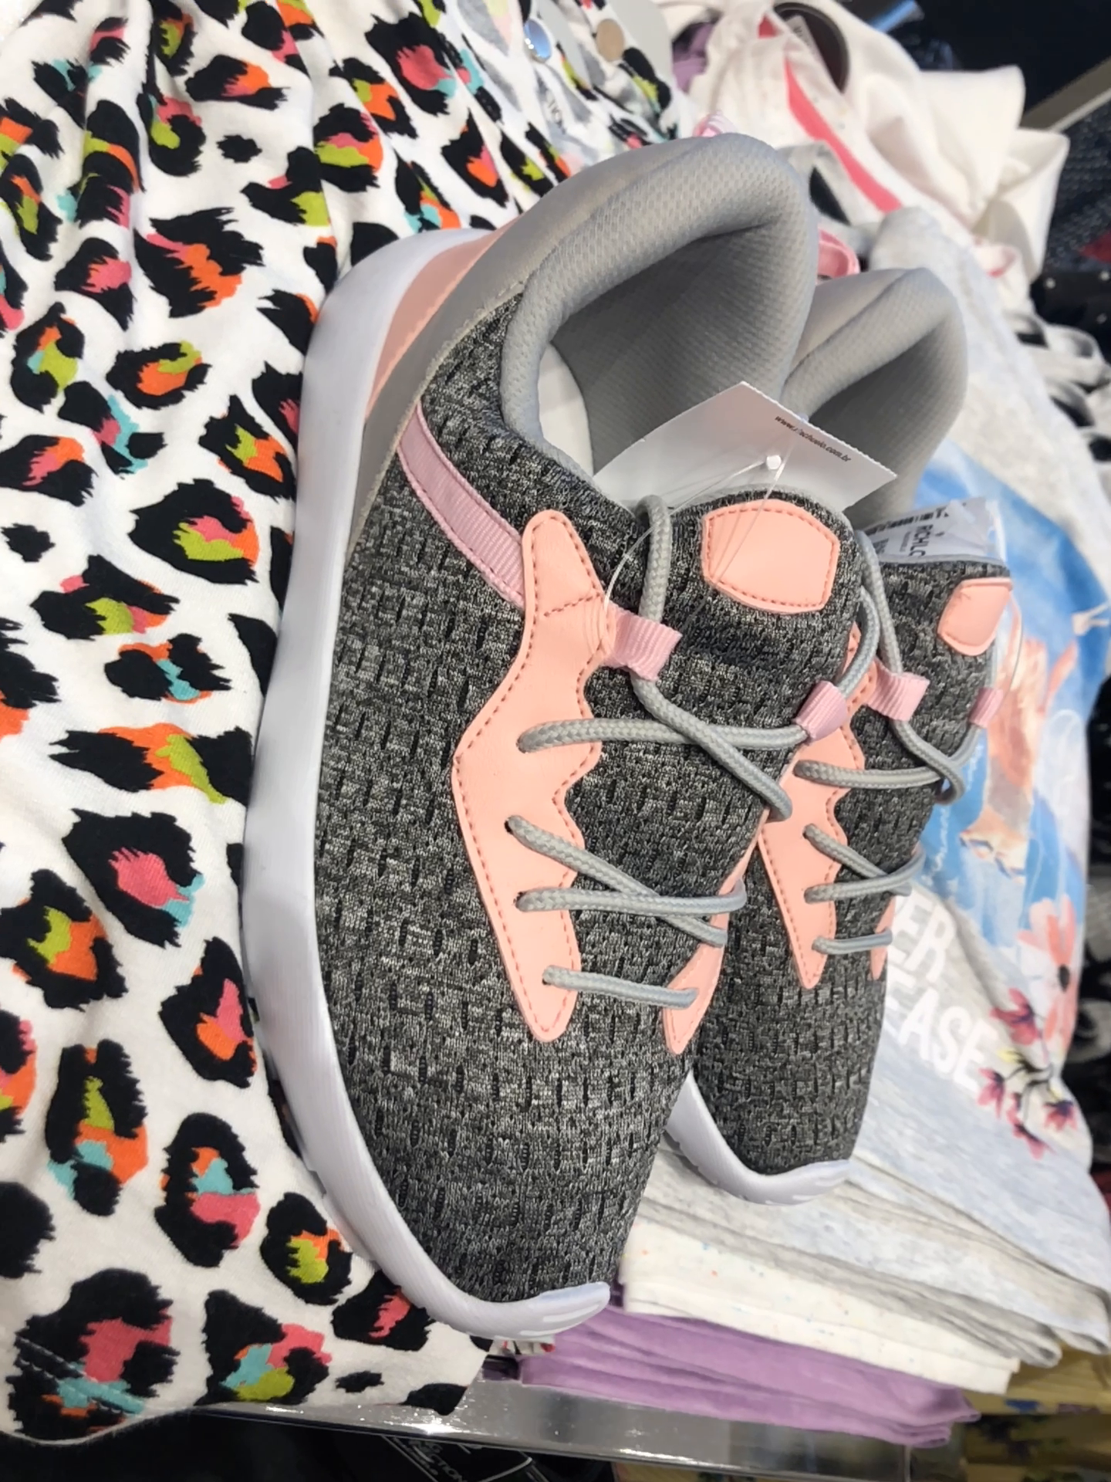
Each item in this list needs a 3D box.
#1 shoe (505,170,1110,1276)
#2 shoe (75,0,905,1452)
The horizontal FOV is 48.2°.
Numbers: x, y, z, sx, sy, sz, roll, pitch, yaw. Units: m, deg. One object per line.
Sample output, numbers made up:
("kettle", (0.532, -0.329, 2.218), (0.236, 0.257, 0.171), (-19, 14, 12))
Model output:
("shoe", (0.062, 0.001, 0.299), (0.101, 0.099, 0.210), (9, 74, -43))
("shoe", (-0.012, -0.009, 0.237), (0.101, 0.099, 0.220), (13, 71, -42))
